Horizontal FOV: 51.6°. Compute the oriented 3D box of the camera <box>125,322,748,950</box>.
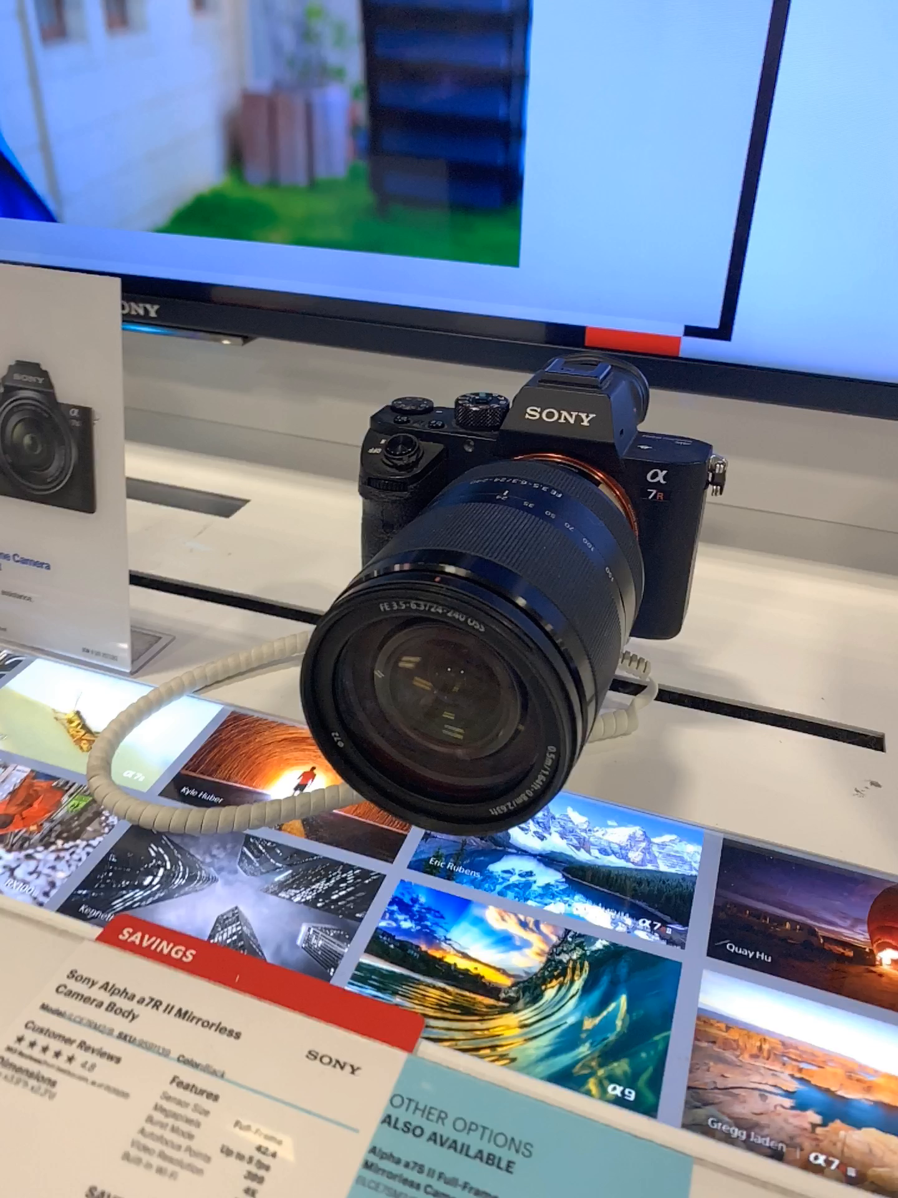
[{"bbox_3d":[0.013,-0.009,0.294,0.130,0.099,0.173,11,33,16],"label":"camera"}]
